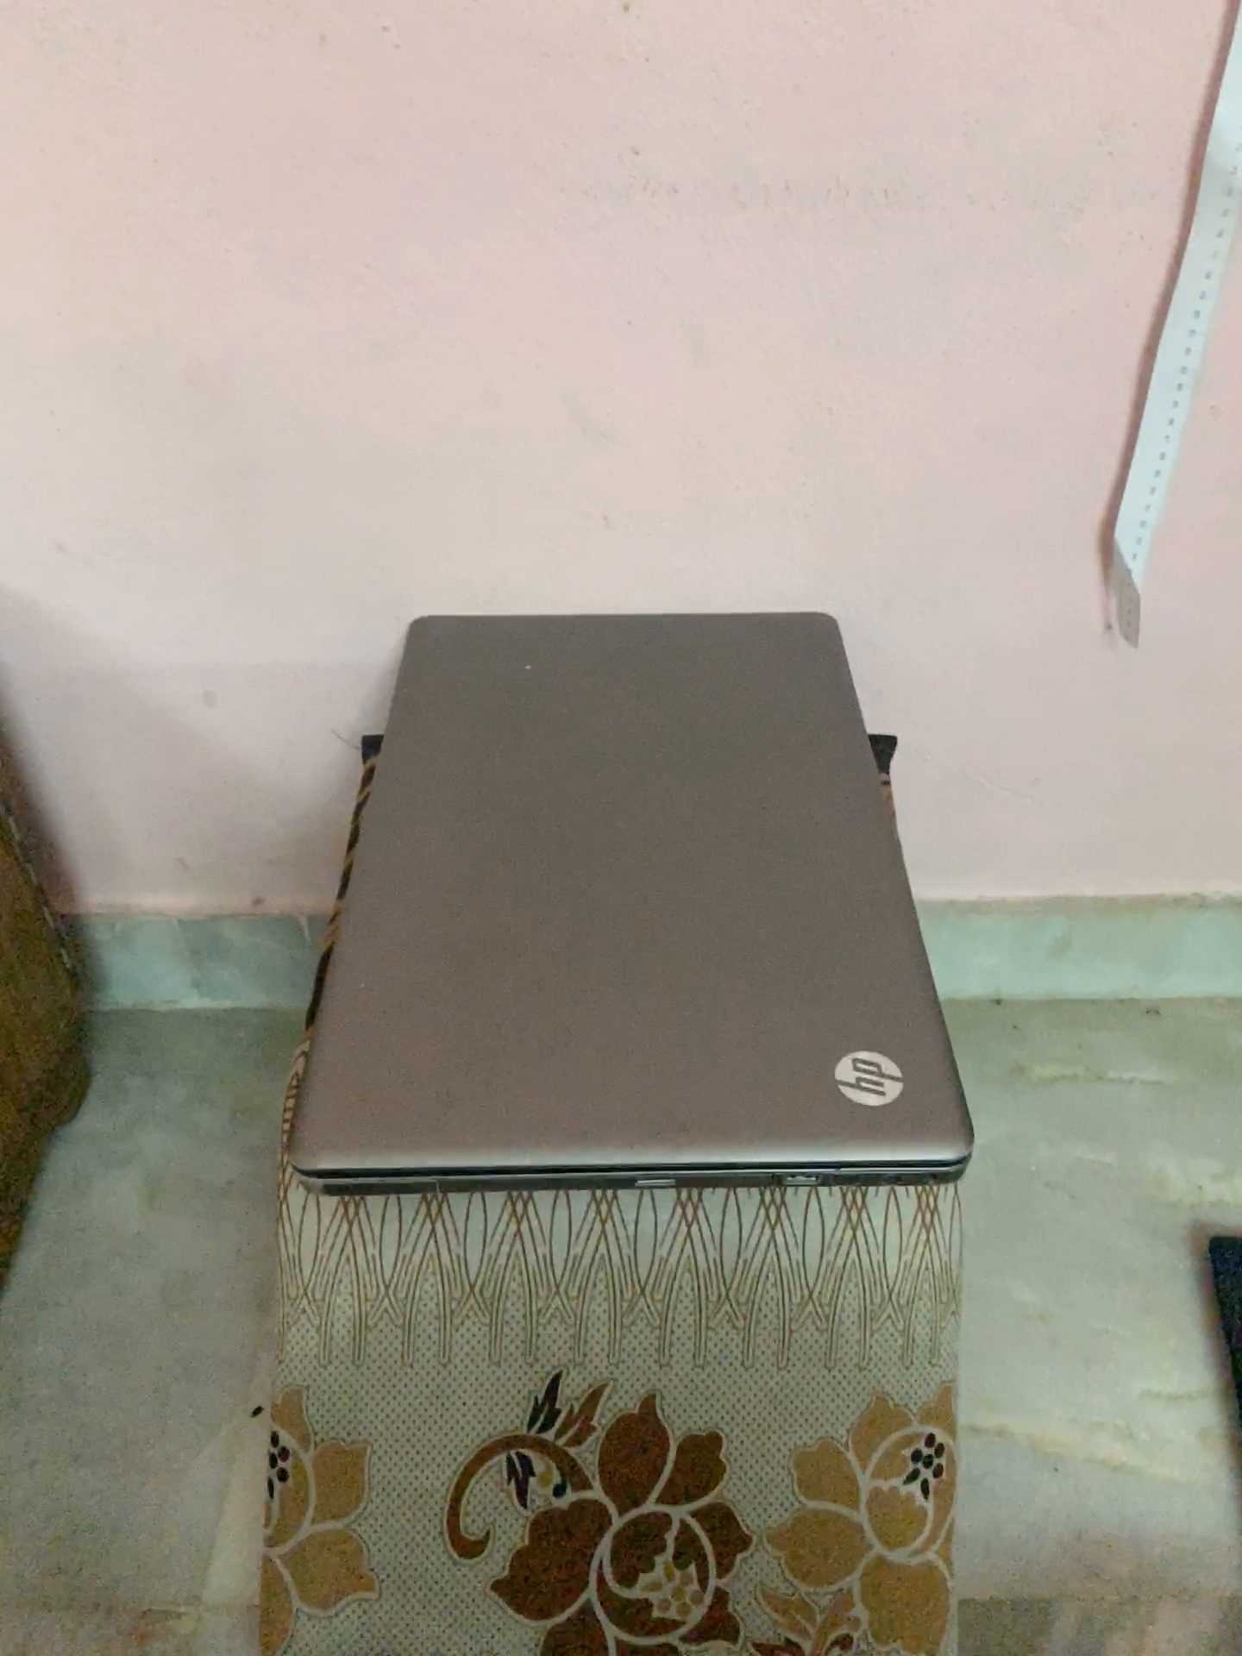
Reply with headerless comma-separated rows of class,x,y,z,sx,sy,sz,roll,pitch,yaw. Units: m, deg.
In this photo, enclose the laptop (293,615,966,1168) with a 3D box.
laptop,0.003,0.000,0.614,0.249,0.002,0.381,0,41,0
